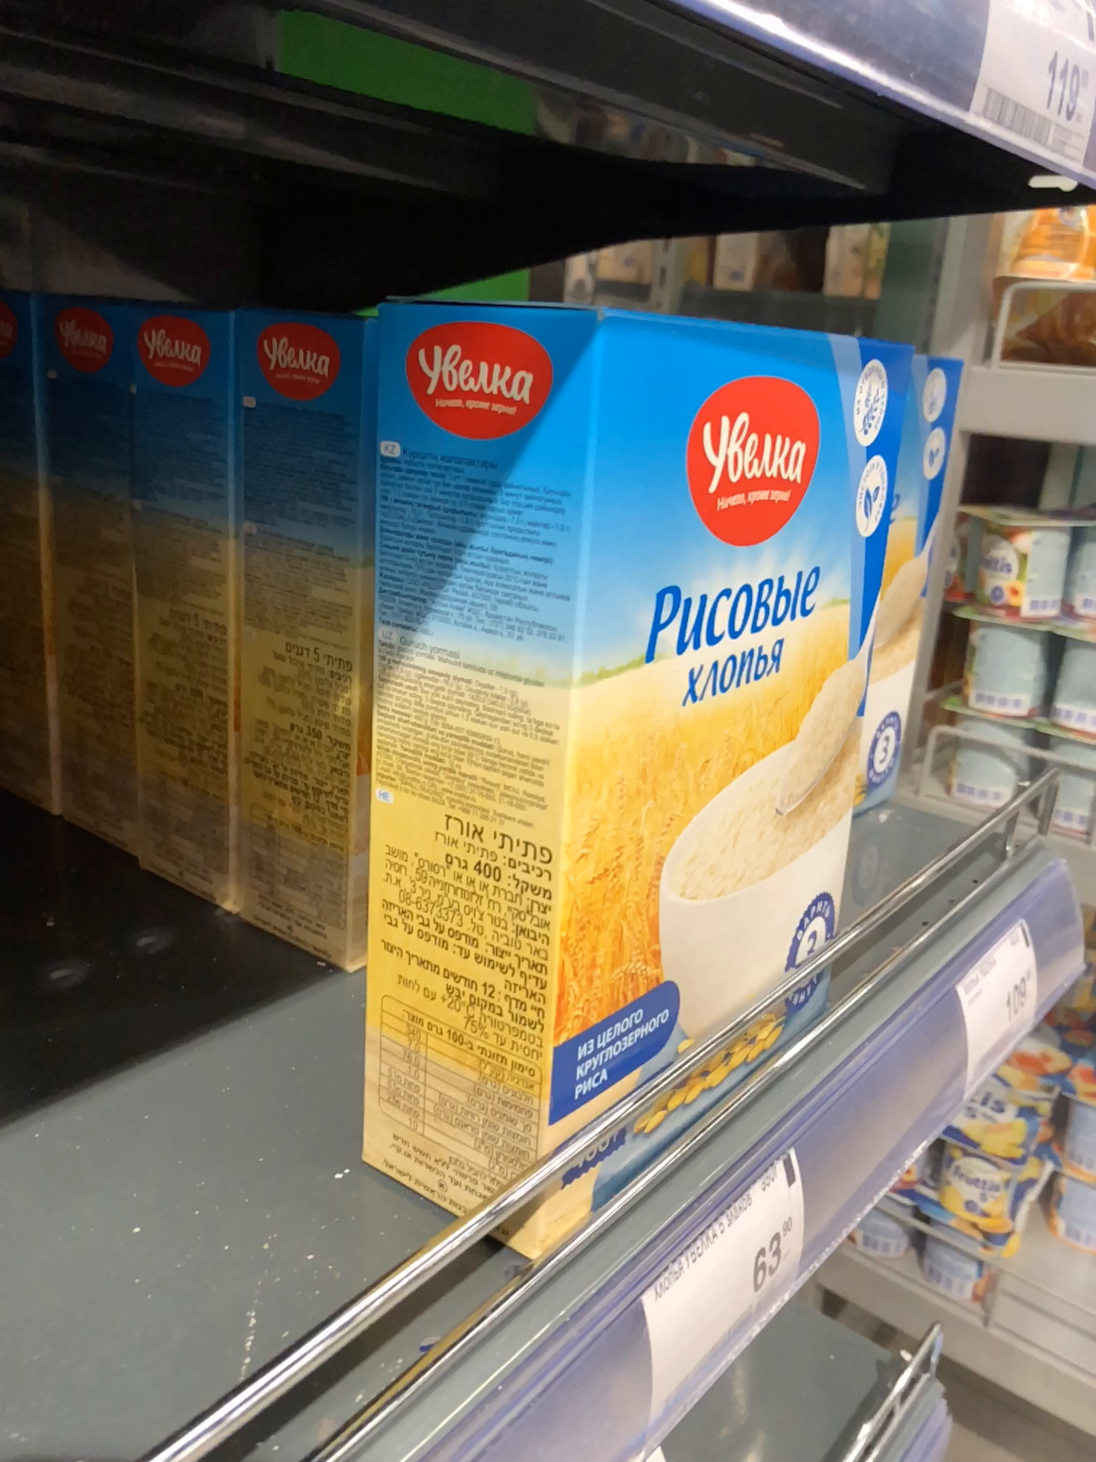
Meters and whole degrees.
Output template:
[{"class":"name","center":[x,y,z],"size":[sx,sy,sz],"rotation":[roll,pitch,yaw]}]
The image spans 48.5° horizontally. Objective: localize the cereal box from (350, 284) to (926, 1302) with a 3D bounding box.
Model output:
[{"class":"cereal box","center":[0.025,0.003,0.297],"size":[0.060,0.199,0.140],"rotation":[15,20,33]}]
